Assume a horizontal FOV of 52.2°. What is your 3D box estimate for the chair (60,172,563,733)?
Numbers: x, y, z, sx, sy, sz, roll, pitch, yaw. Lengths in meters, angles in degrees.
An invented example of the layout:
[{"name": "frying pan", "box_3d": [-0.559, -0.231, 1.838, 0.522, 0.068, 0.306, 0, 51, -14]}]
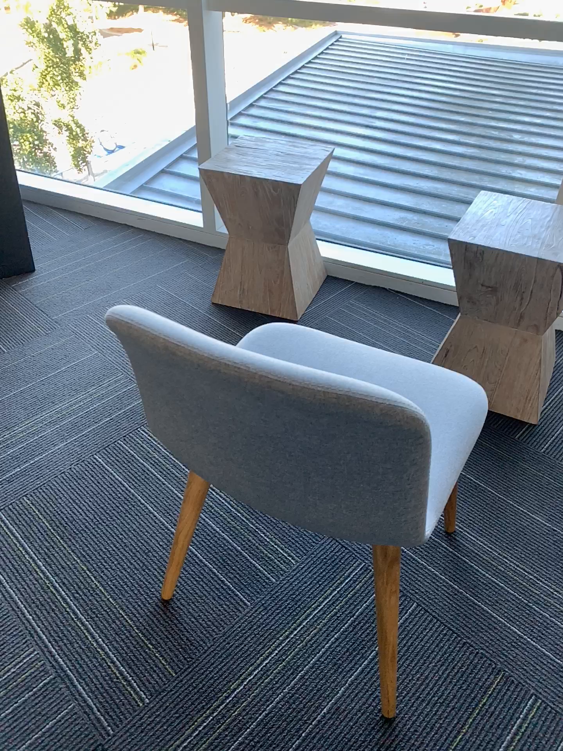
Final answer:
[{"name": "chair", "box_3d": [0.070, 0.109, 0.986, 0.541, 0.676, 0.472, 18, 42, 20]}]
